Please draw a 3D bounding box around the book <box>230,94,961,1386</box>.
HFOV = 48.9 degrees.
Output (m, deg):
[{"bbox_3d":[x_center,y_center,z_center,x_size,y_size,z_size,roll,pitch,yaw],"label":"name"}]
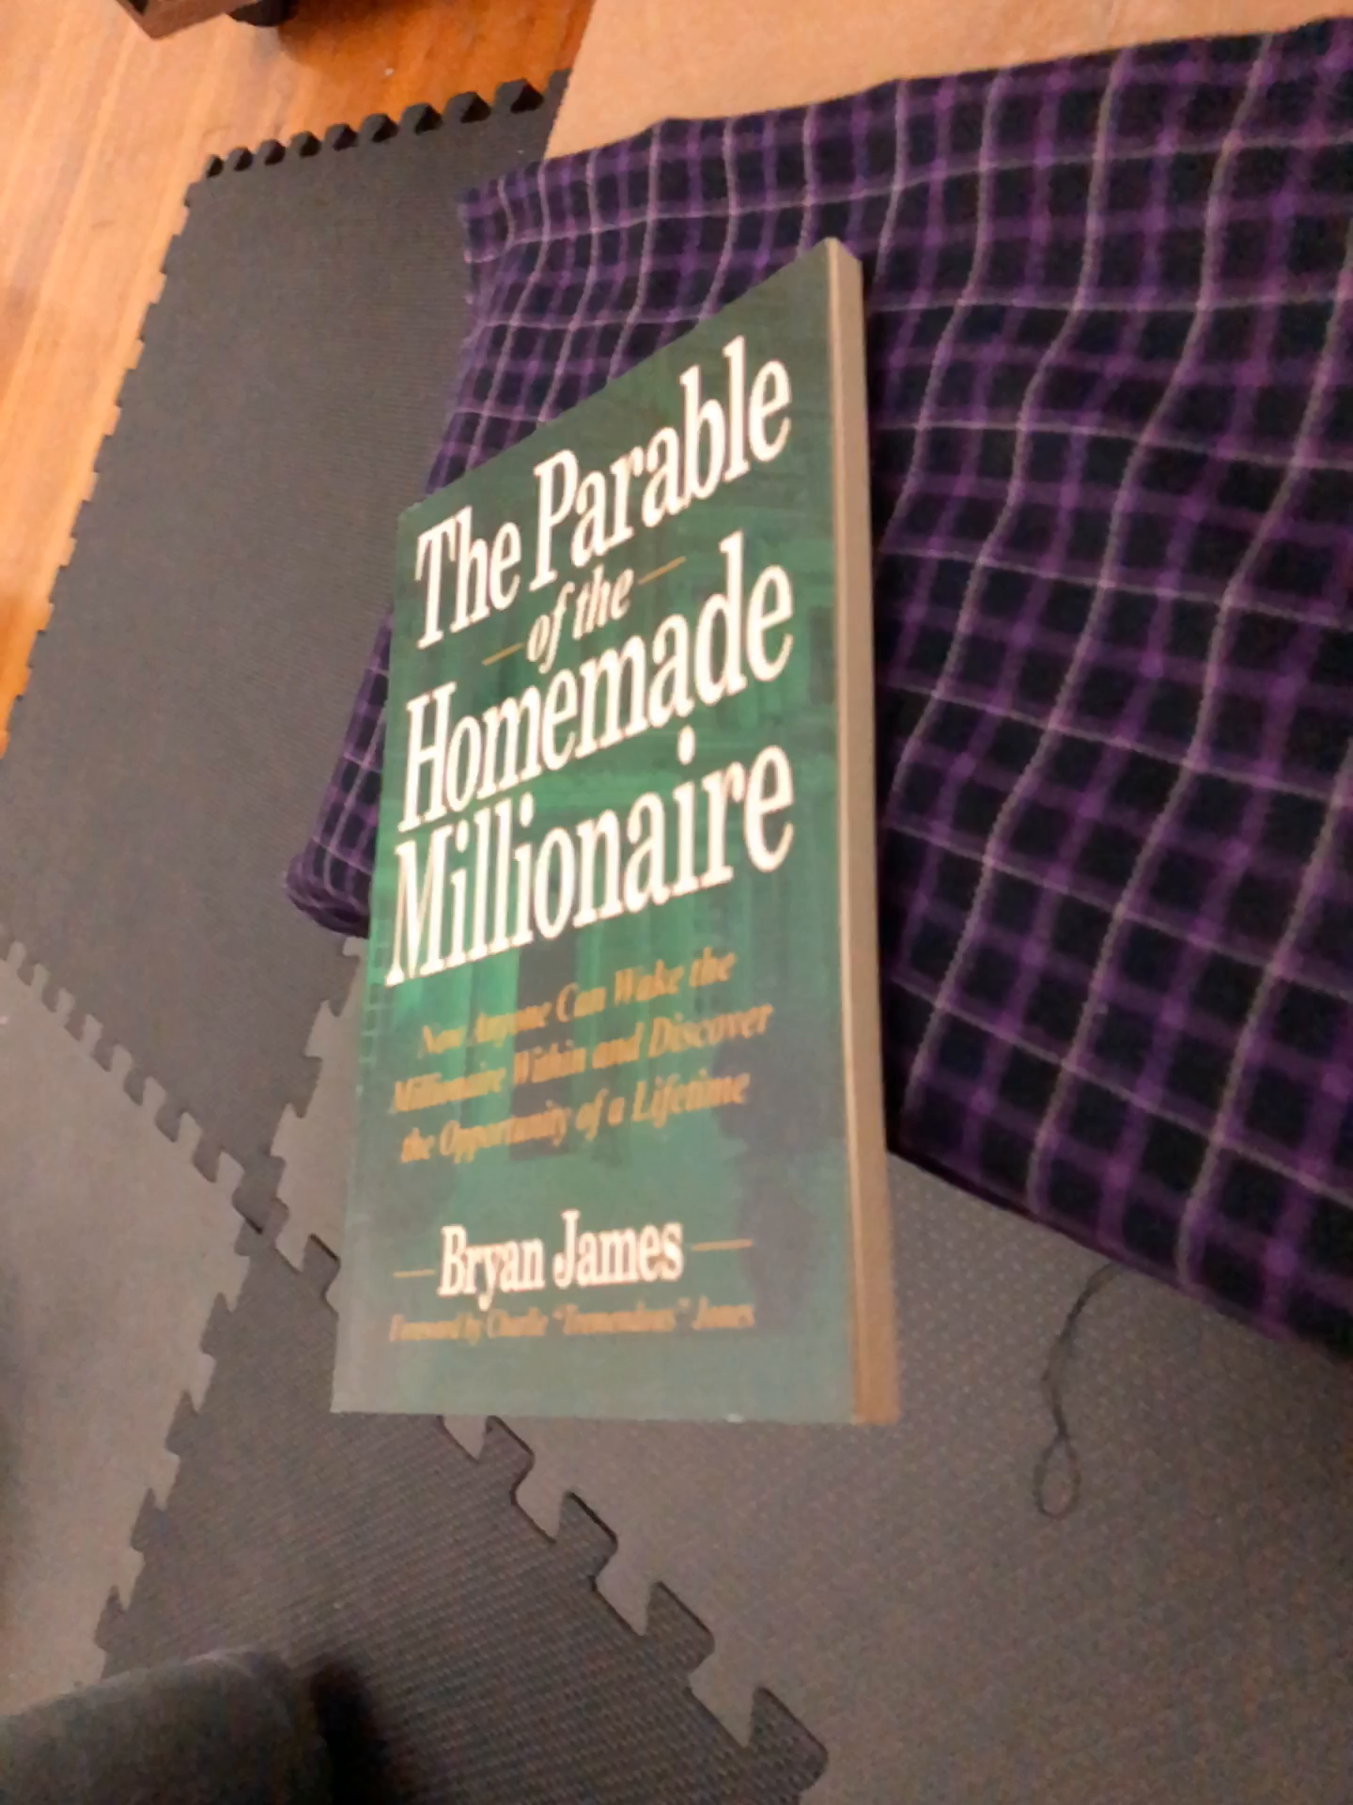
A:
[{"bbox_3d":[-0.025,-0.019,0.282,0.160,0.020,0.210,-18,64,42],"label":"book"}]
